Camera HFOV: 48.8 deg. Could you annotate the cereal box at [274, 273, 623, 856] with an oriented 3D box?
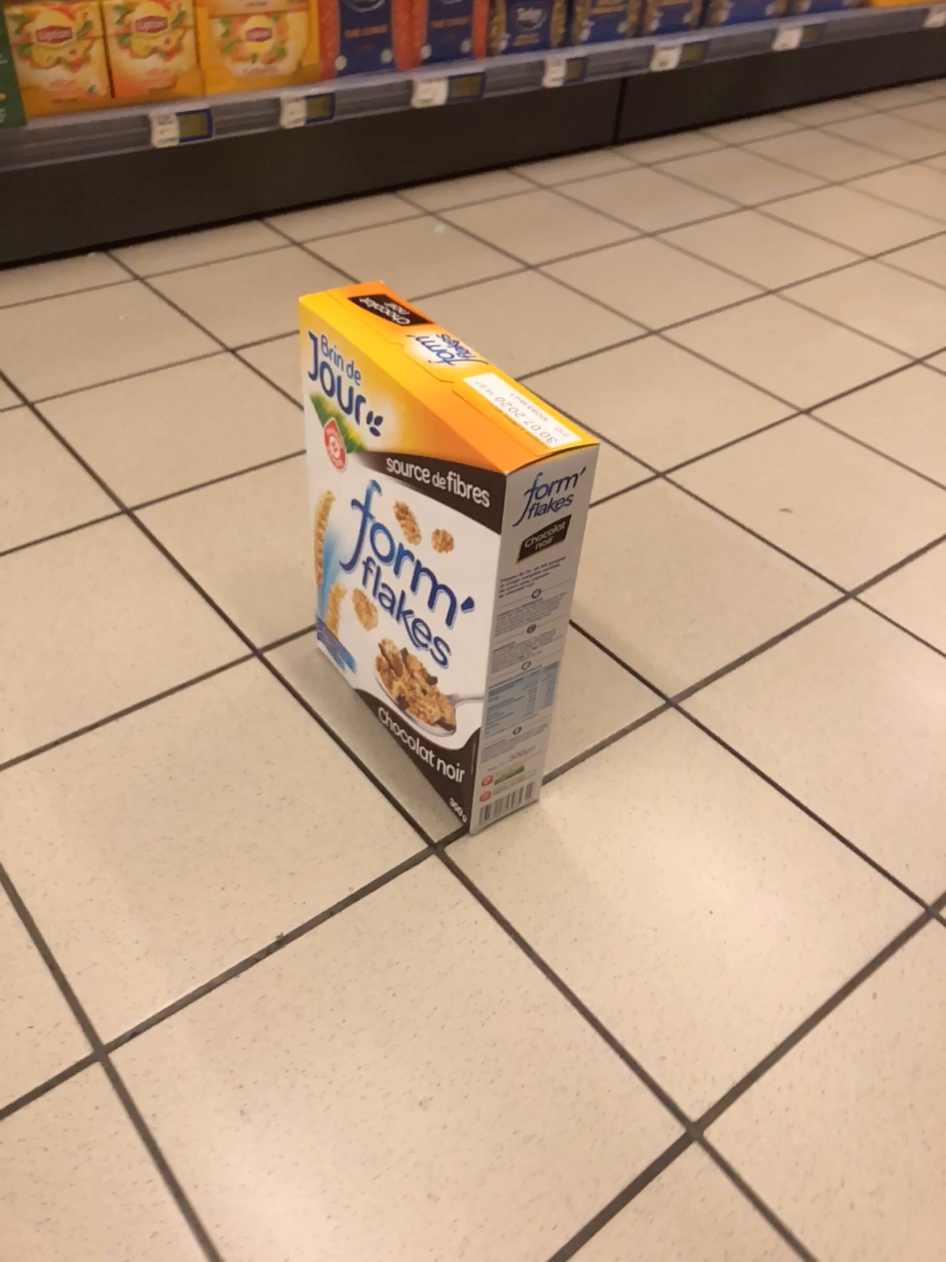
[{"bbox_3d":[-0.027,-0.036,0.583,0.070,0.249,0.200,-22,47,-28],"label":"cereal box"}]
